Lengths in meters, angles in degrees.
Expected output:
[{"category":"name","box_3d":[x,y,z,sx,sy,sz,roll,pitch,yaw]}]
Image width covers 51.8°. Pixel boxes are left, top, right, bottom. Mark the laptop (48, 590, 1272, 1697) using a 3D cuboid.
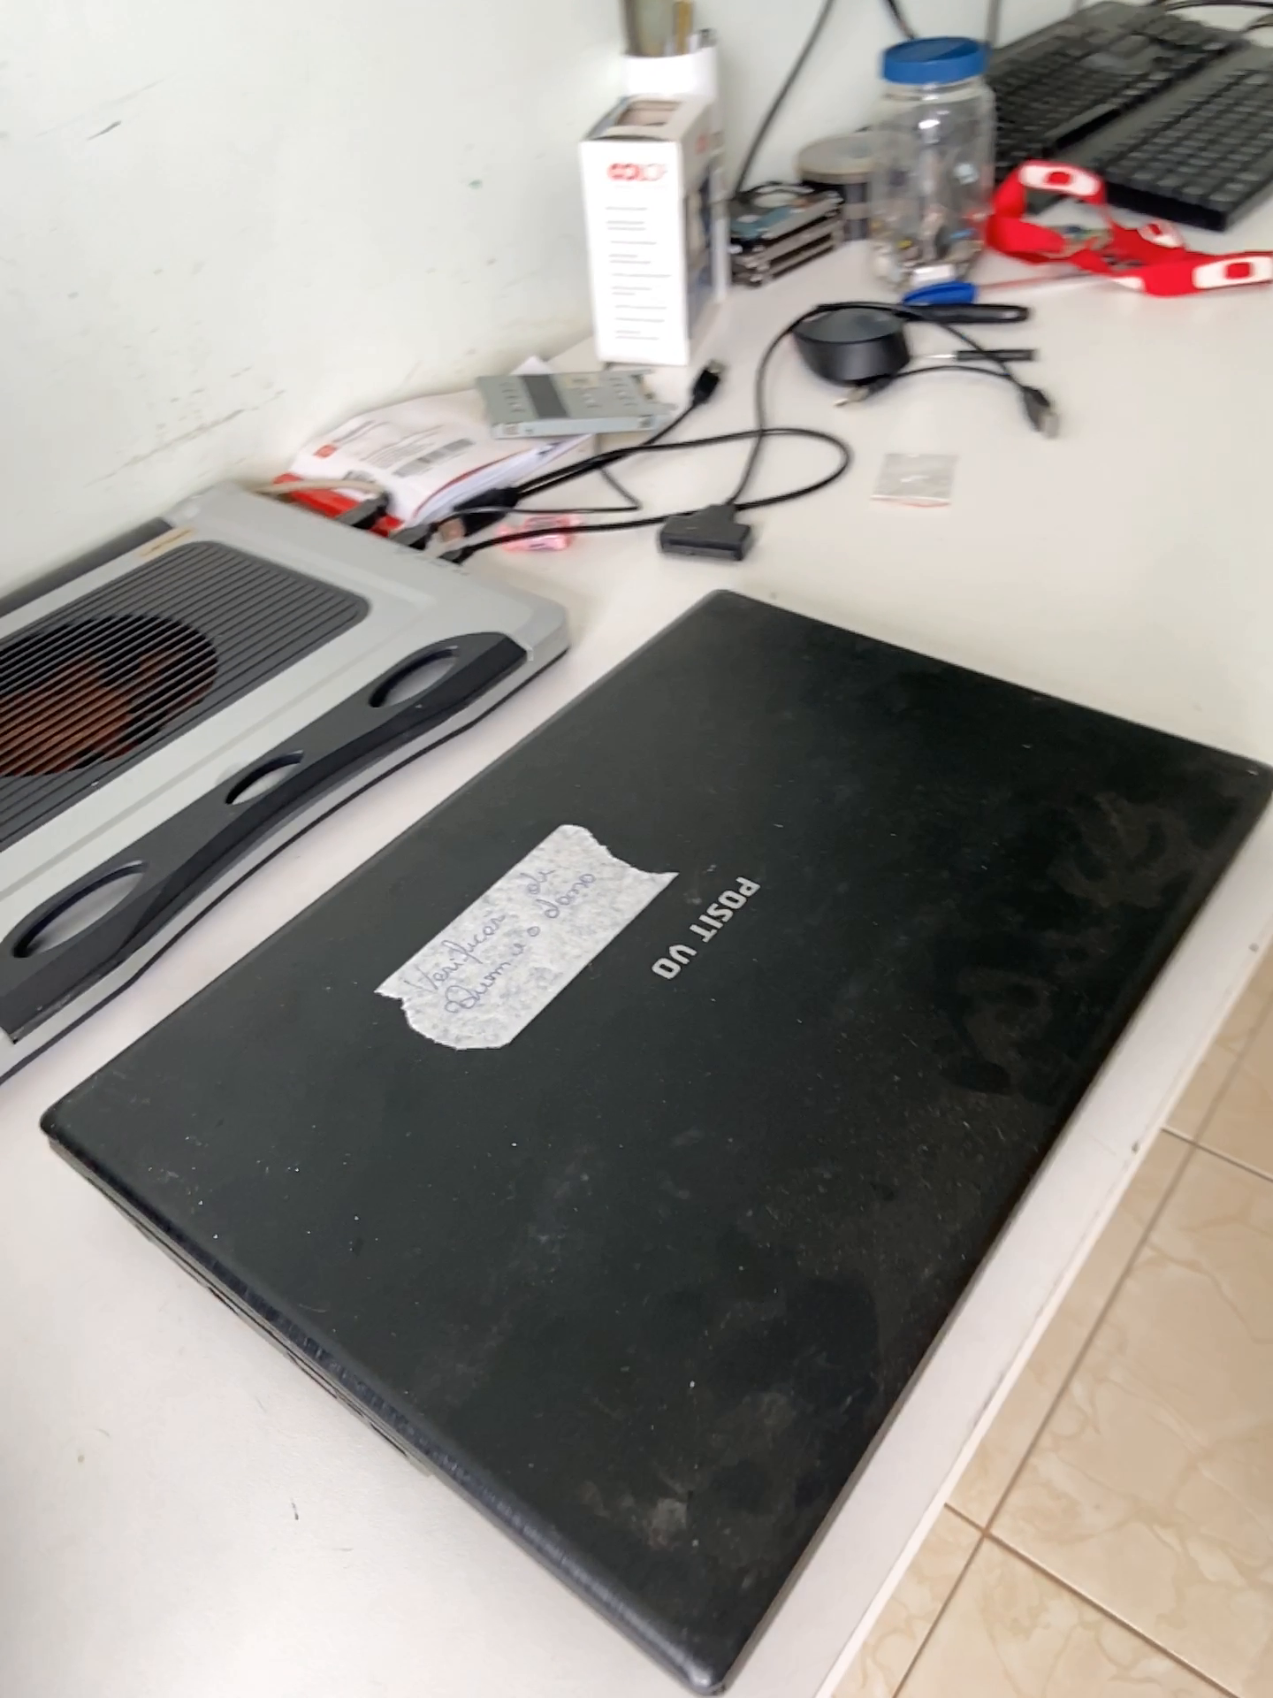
[{"category":"laptop","box_3d":[0.024,0.030,0.410,0.234,0.008,0.329,25,50,29]}]
